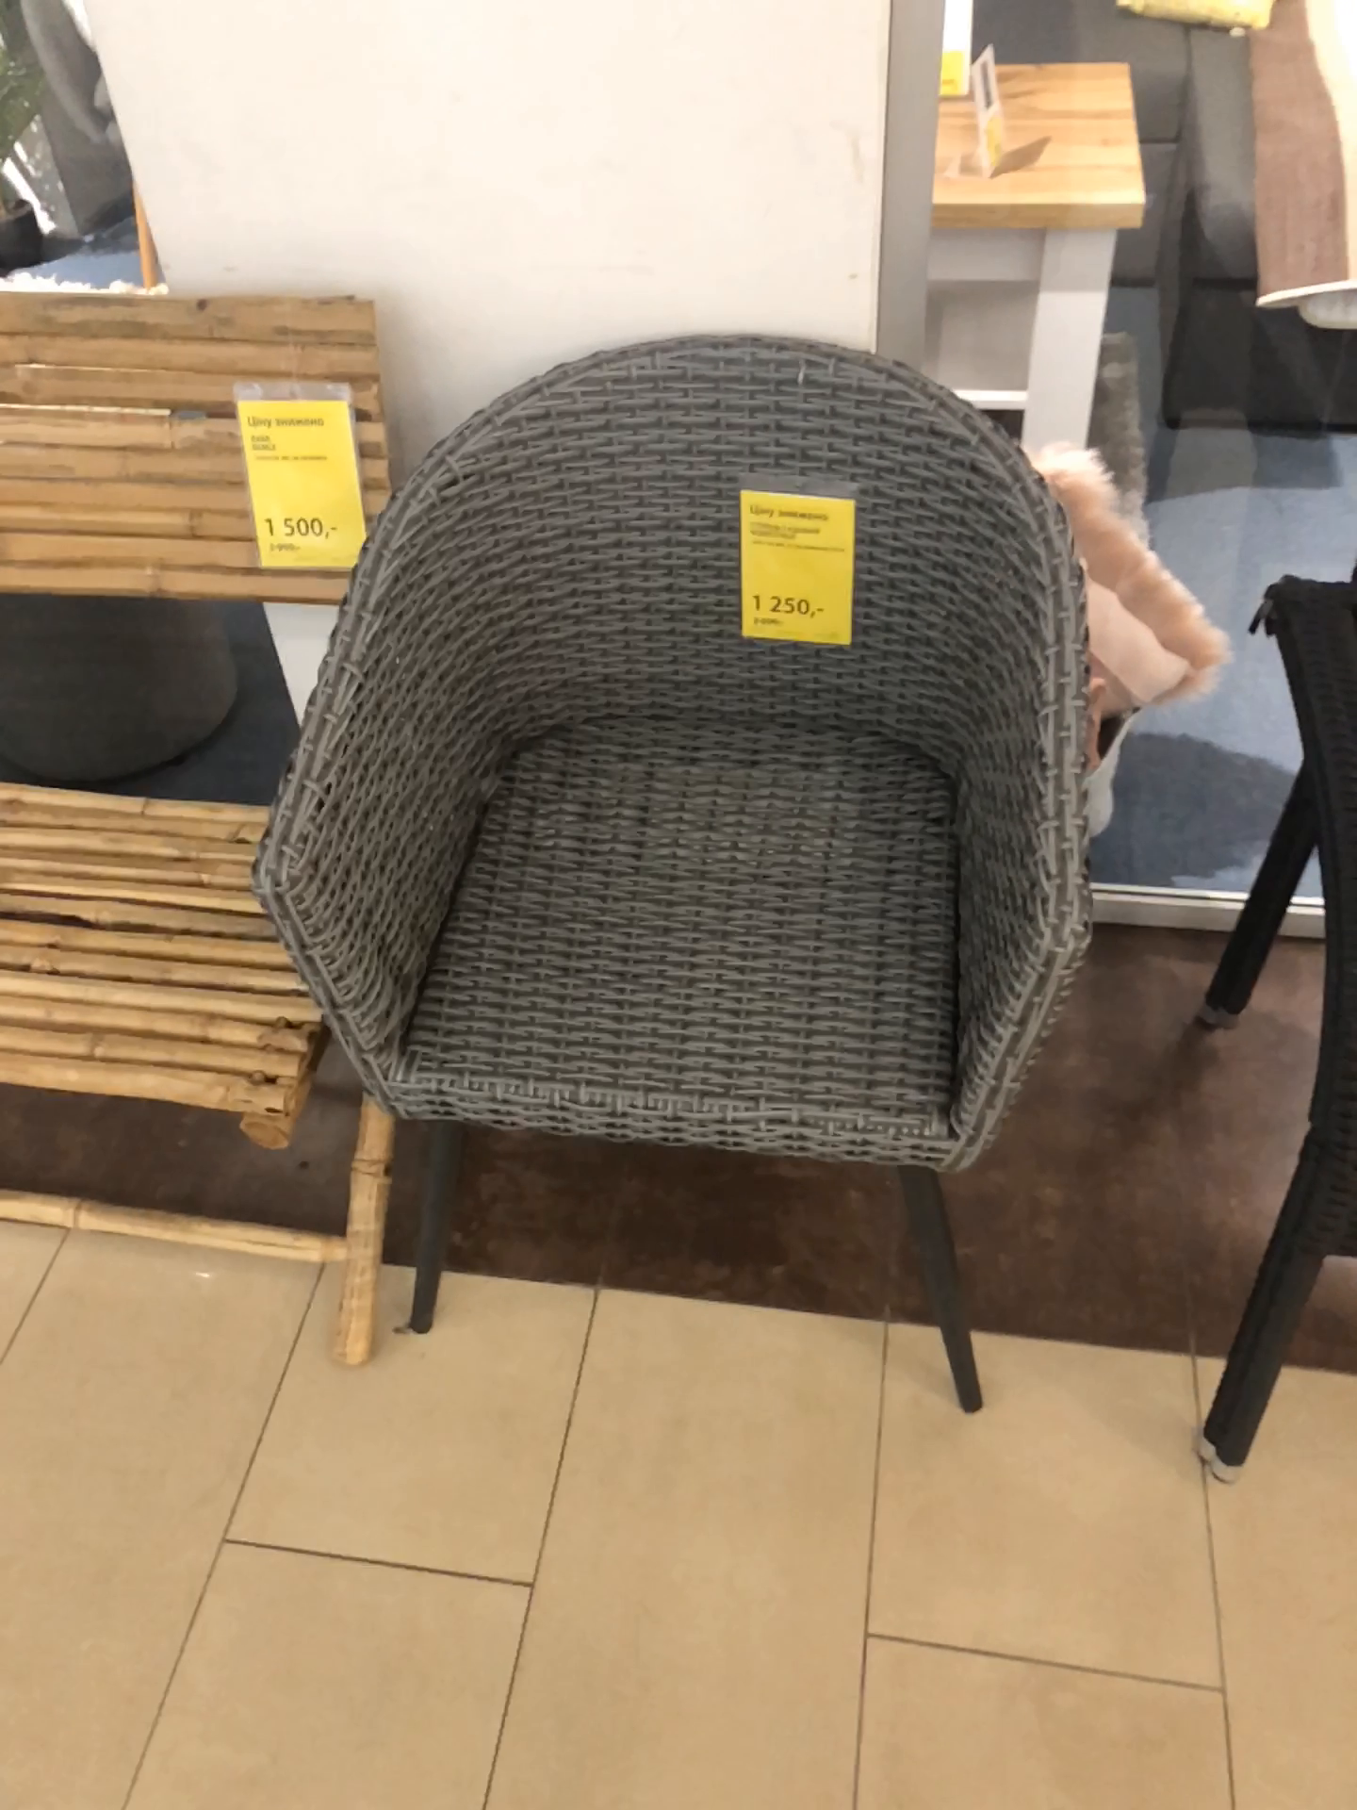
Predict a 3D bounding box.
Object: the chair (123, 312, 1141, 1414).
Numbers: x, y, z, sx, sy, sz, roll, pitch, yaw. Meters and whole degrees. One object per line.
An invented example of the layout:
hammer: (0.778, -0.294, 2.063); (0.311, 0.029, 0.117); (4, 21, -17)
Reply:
chair: (0.021, -0.021, 1.256); (0.570, 0.737, 0.522); (4, 46, 9)
